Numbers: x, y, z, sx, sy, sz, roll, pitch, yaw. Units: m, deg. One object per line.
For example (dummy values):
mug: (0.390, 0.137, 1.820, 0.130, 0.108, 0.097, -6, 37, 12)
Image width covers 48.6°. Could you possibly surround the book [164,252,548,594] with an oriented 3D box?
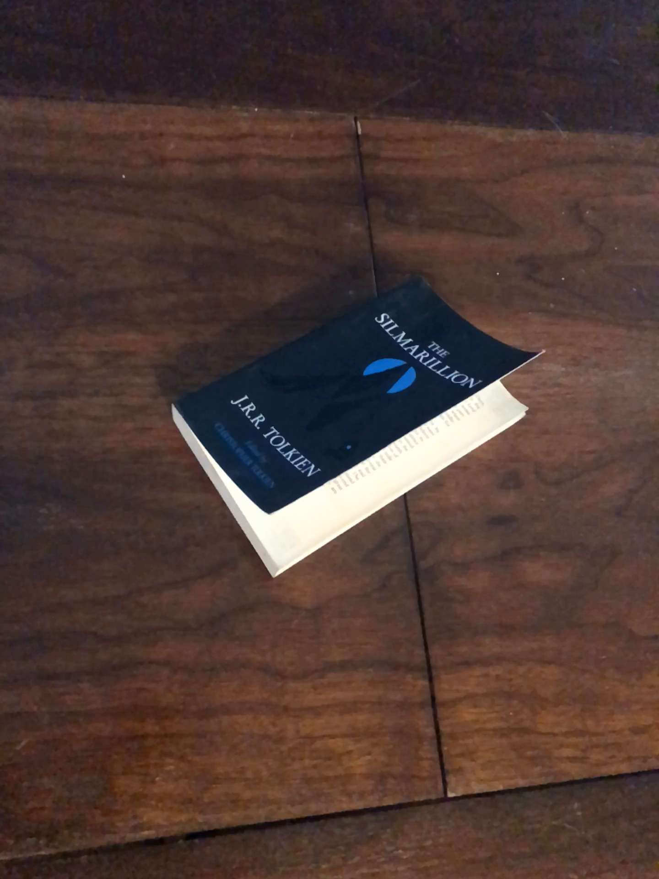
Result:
book: (0.016, -0.015, 0.418, 0.180, 0.040, 0.119, -31, 79, -20)
